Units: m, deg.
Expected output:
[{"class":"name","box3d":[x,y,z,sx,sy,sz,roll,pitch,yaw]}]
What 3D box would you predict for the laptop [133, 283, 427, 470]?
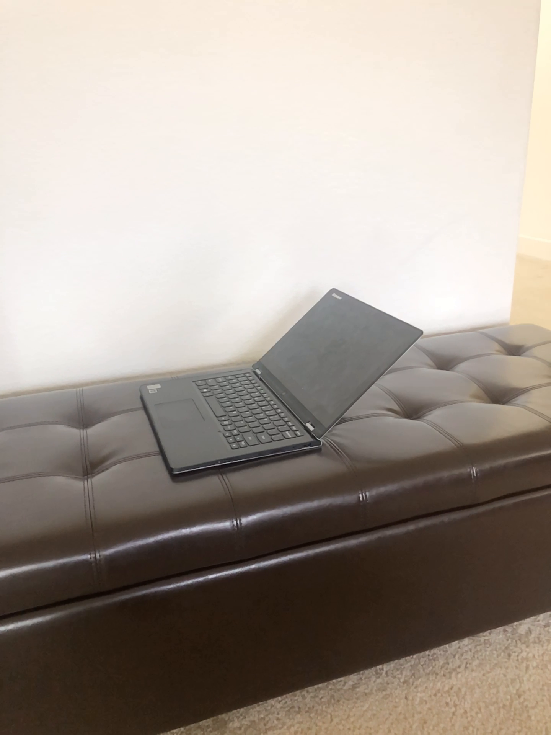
[{"class":"laptop","box3d":[-0.009,-0.010,0.817,0.317,0.115,0.262,-10,22,-18]}]
